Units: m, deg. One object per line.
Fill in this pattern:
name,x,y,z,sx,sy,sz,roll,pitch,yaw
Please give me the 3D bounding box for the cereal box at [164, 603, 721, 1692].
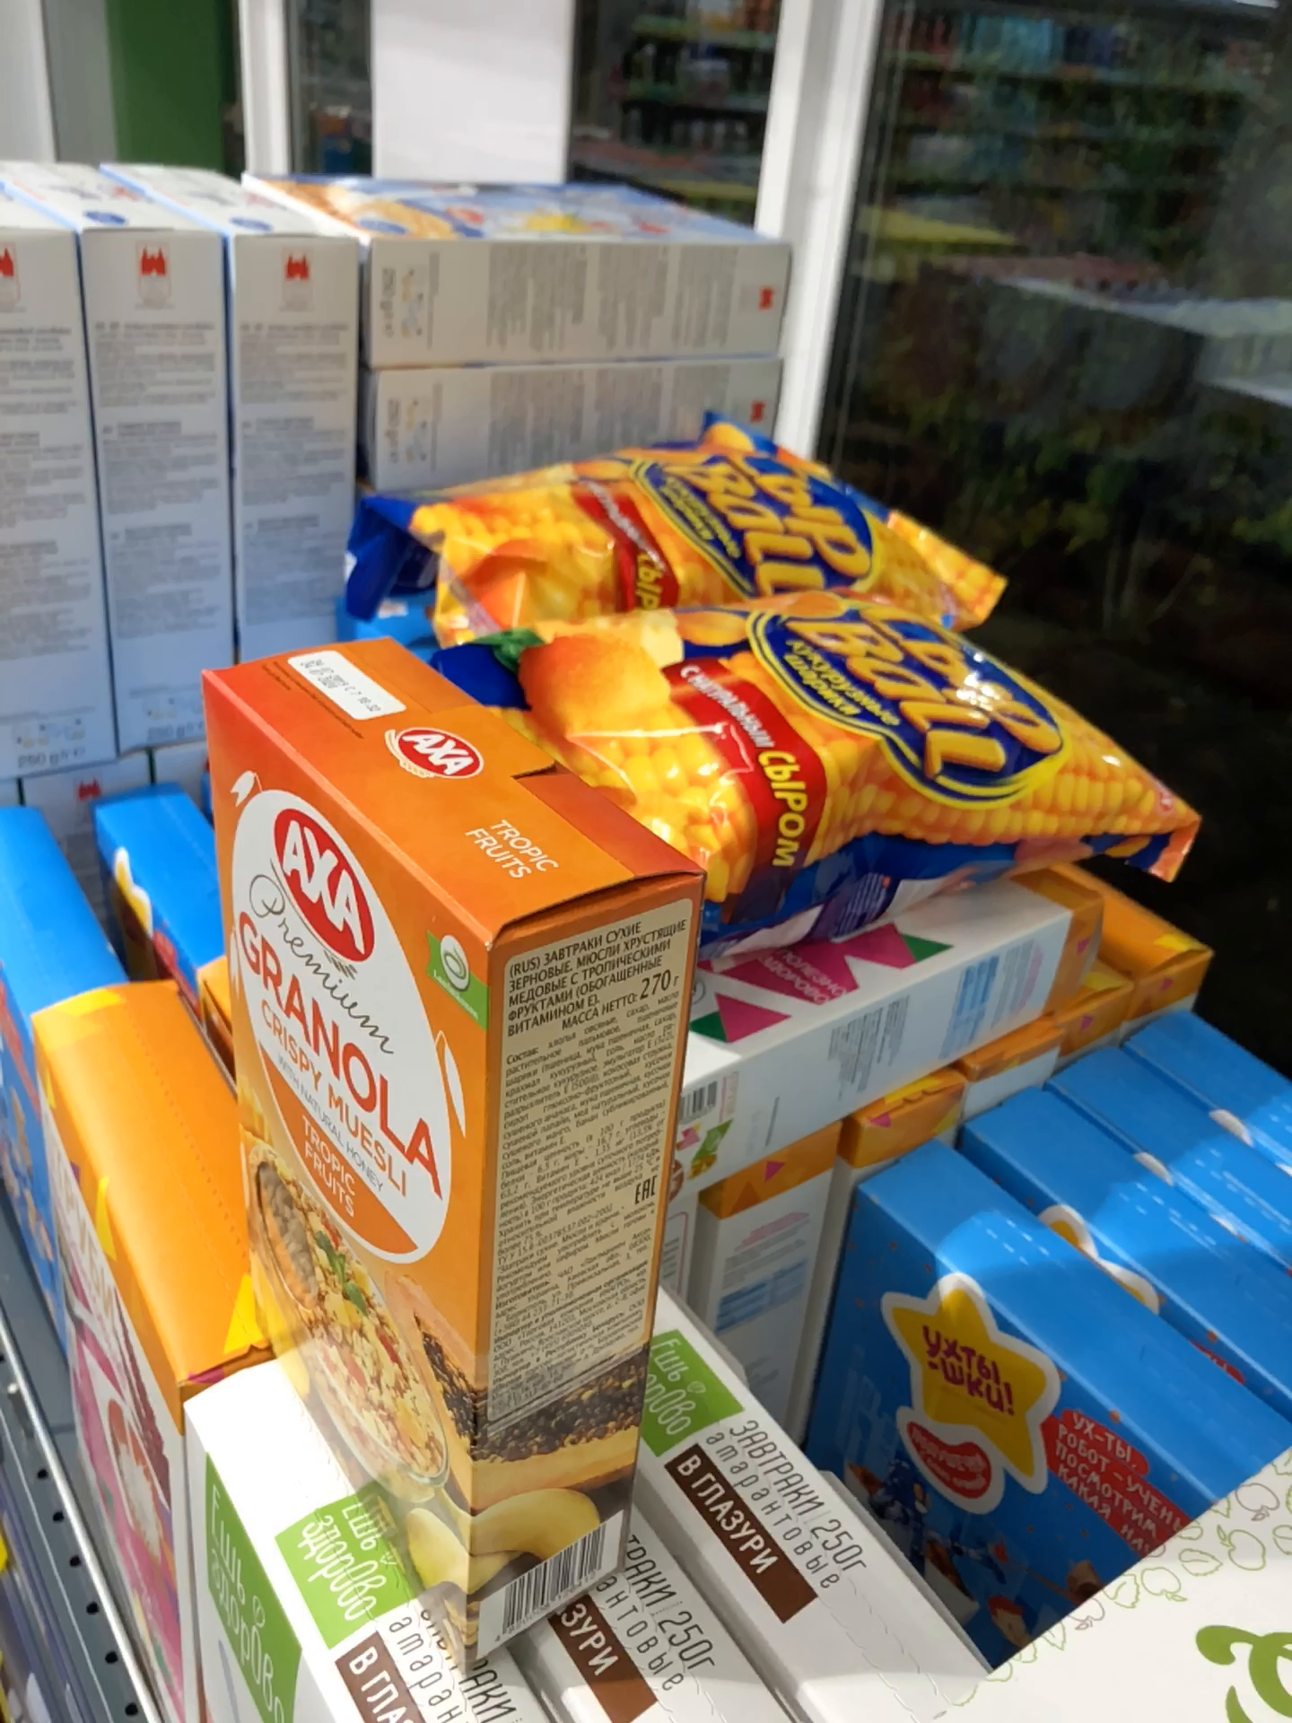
cereal box,-0.058,0.068,0.350,0.050,0.219,0.141,-17,38,-34
